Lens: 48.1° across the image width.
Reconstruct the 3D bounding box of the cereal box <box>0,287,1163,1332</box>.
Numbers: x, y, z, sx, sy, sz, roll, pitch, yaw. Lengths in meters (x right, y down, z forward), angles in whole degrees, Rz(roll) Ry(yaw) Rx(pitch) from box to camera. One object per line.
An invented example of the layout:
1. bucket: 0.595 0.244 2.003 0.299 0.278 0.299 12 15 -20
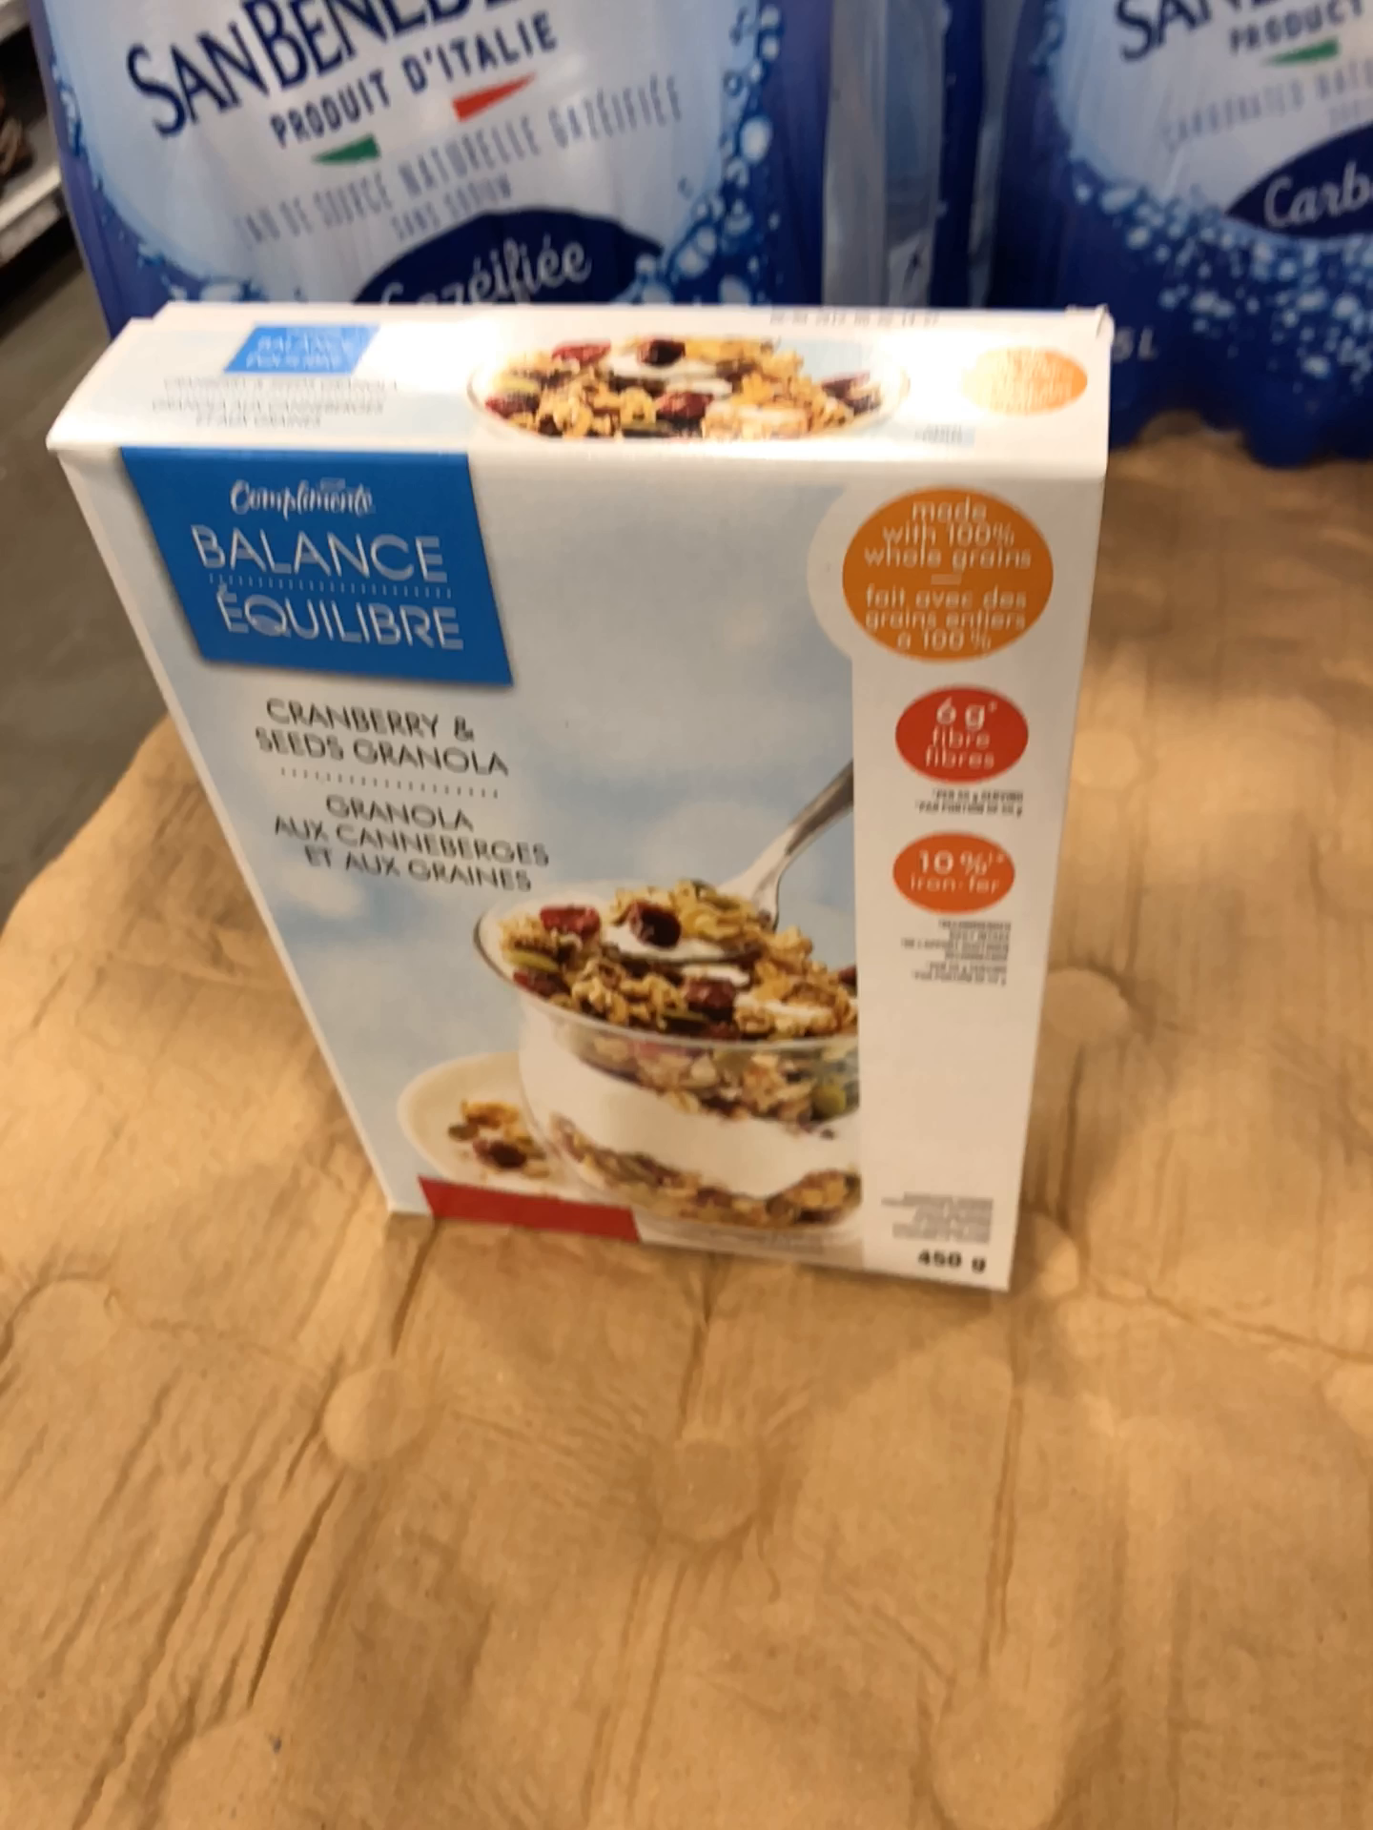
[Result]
1. cereal box: -0.010 -0.006 0.316 0.180 0.229 0.050 5 48 12
